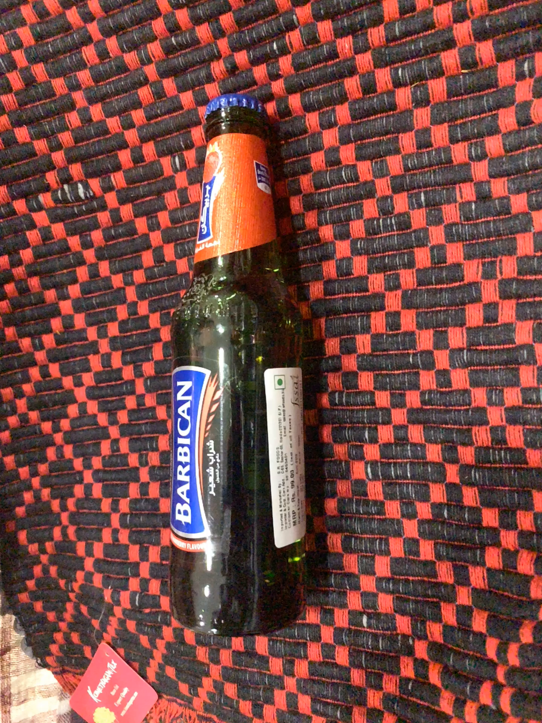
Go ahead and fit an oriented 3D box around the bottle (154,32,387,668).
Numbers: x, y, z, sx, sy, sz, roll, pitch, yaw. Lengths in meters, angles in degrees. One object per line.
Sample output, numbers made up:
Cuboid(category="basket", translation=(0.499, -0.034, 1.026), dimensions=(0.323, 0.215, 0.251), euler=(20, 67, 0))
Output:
Cuboid(category="bottle", translation=(-0.001, -0.005, 0.239), dimensions=(0.060, 0.070, 0.220), euler=(-6, 84, 43))
